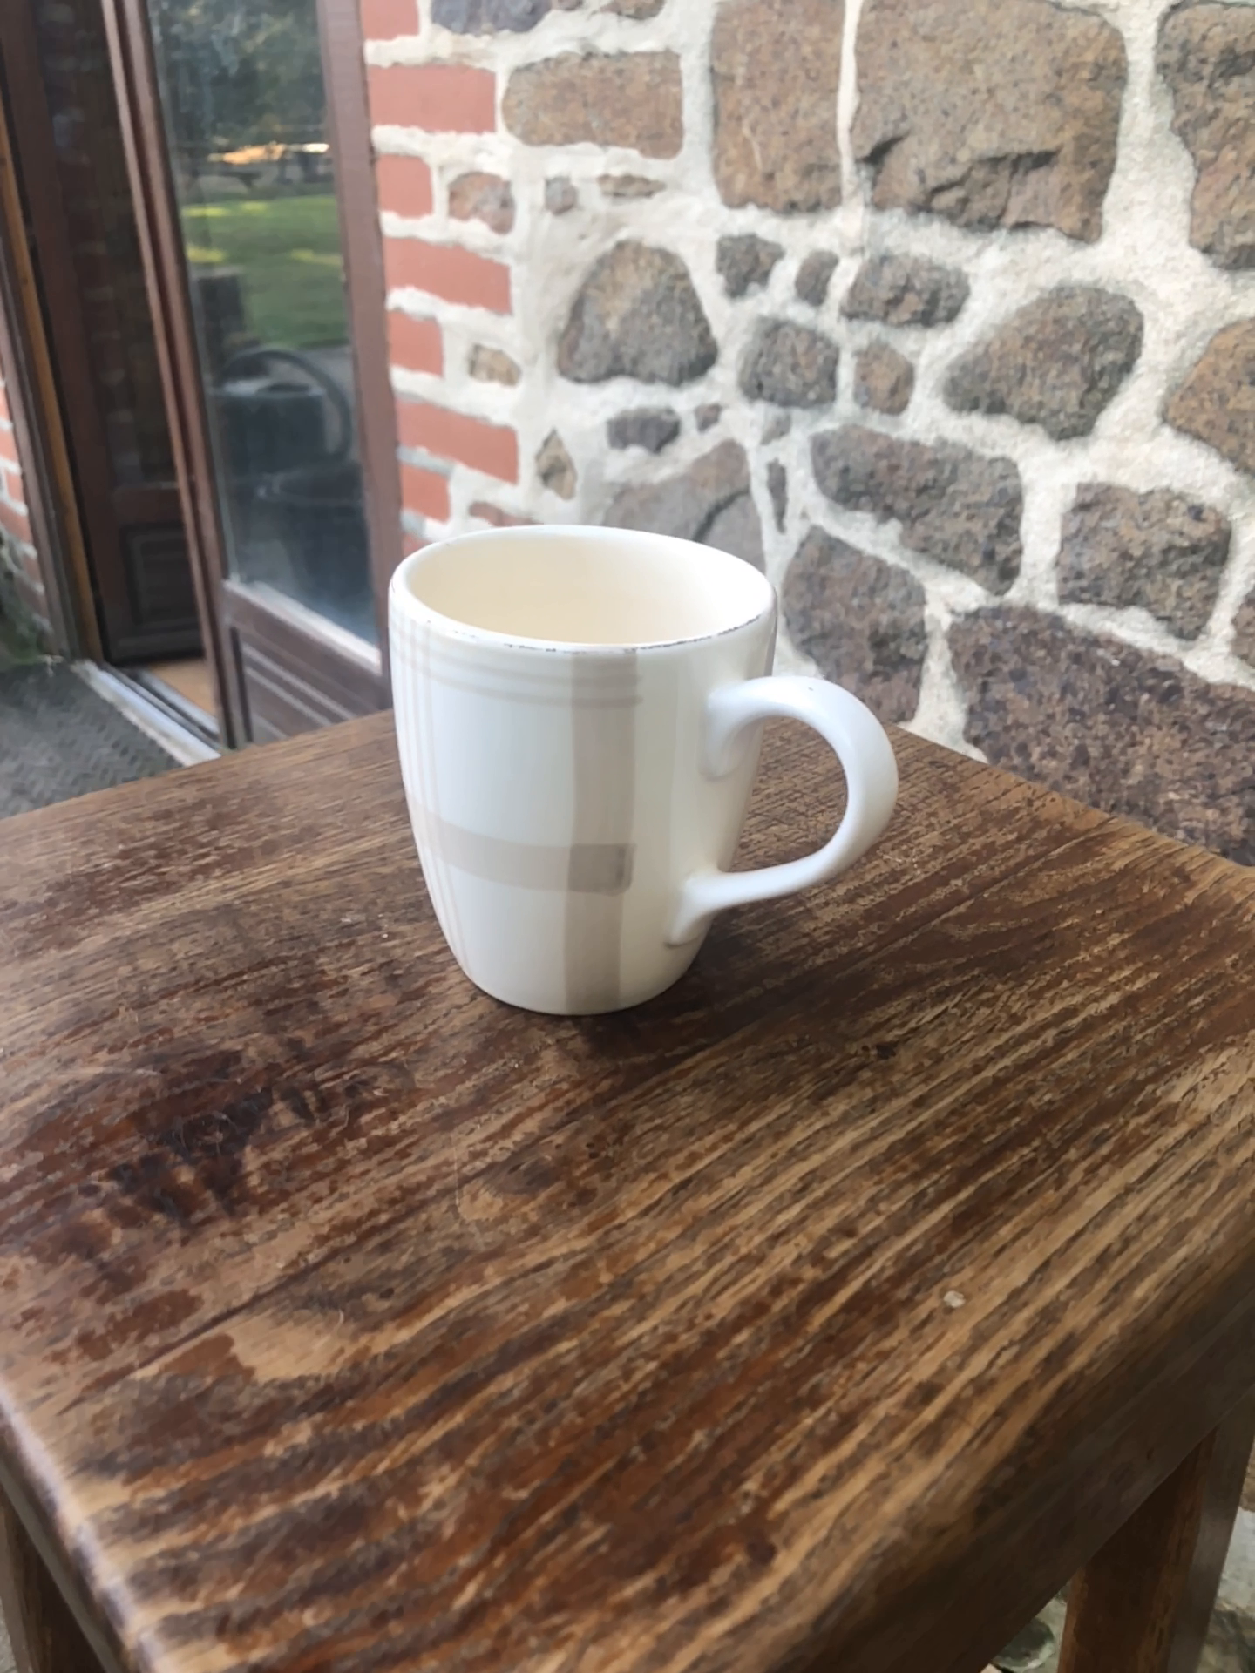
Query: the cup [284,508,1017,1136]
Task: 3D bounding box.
[{"bbox_3d":[0.001,-0.014,0.301,0.124,0.078,0.088,24,34,37],"label":"cup"}]
